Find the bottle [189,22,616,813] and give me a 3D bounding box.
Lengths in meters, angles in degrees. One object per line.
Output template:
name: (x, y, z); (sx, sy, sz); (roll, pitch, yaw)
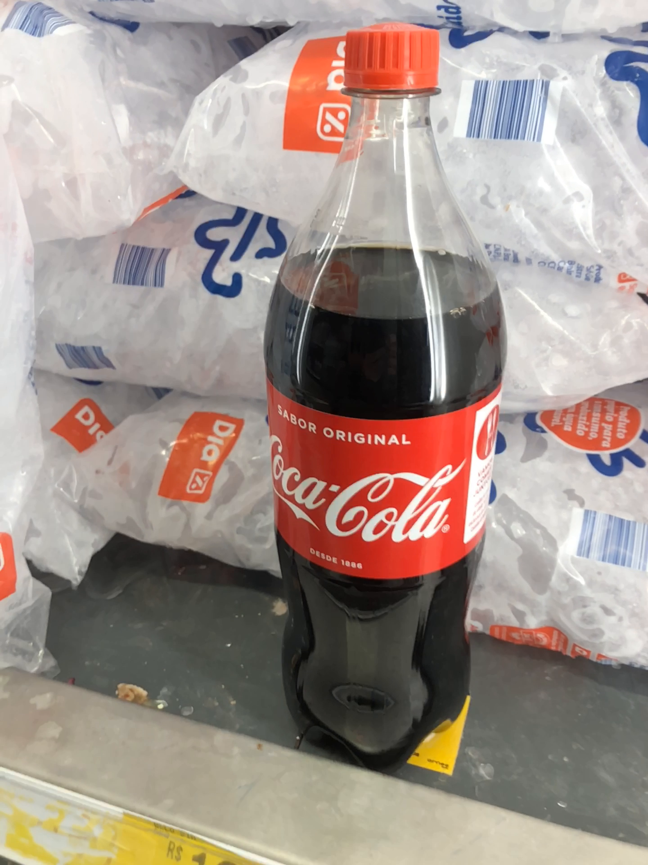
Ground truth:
bottle: (0.026, 0.007, 0.282); (0.100, 0.288, 0.081); (15, 34, 23)
